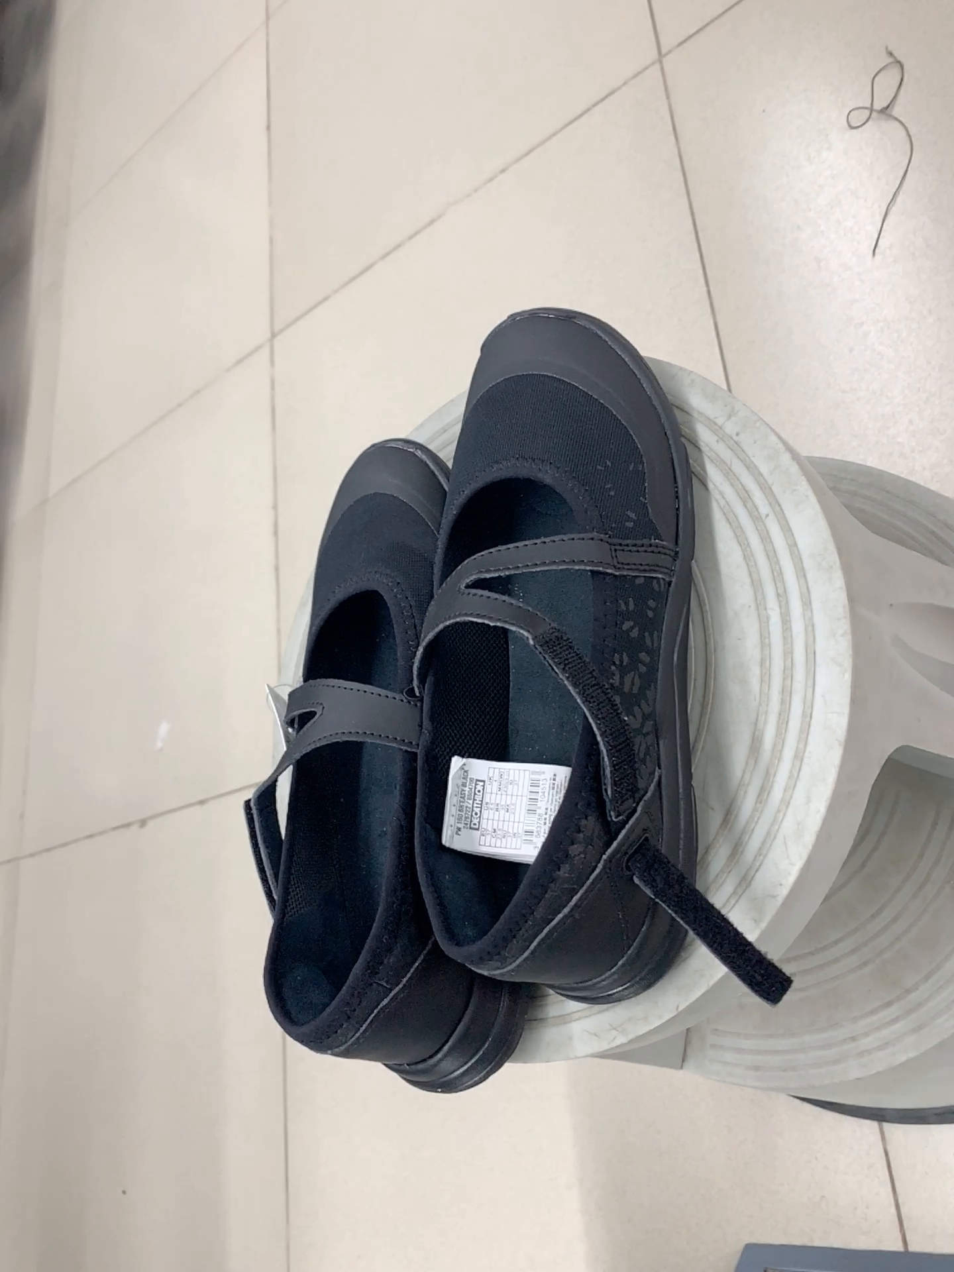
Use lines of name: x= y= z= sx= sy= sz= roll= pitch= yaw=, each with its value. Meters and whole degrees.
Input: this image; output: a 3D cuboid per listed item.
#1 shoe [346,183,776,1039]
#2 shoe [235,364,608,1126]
shoe: x=0.022 y=-0.004 z=0.330 sx=0.101 sy=0.080 sz=0.250 roll=-16 pitch=67 yaw=38
shoe: x=-0.029 y=0.039 z=0.368 sx=0.090 sy=0.080 sz=0.250 roll=-22 pitch=64 yaw=35
